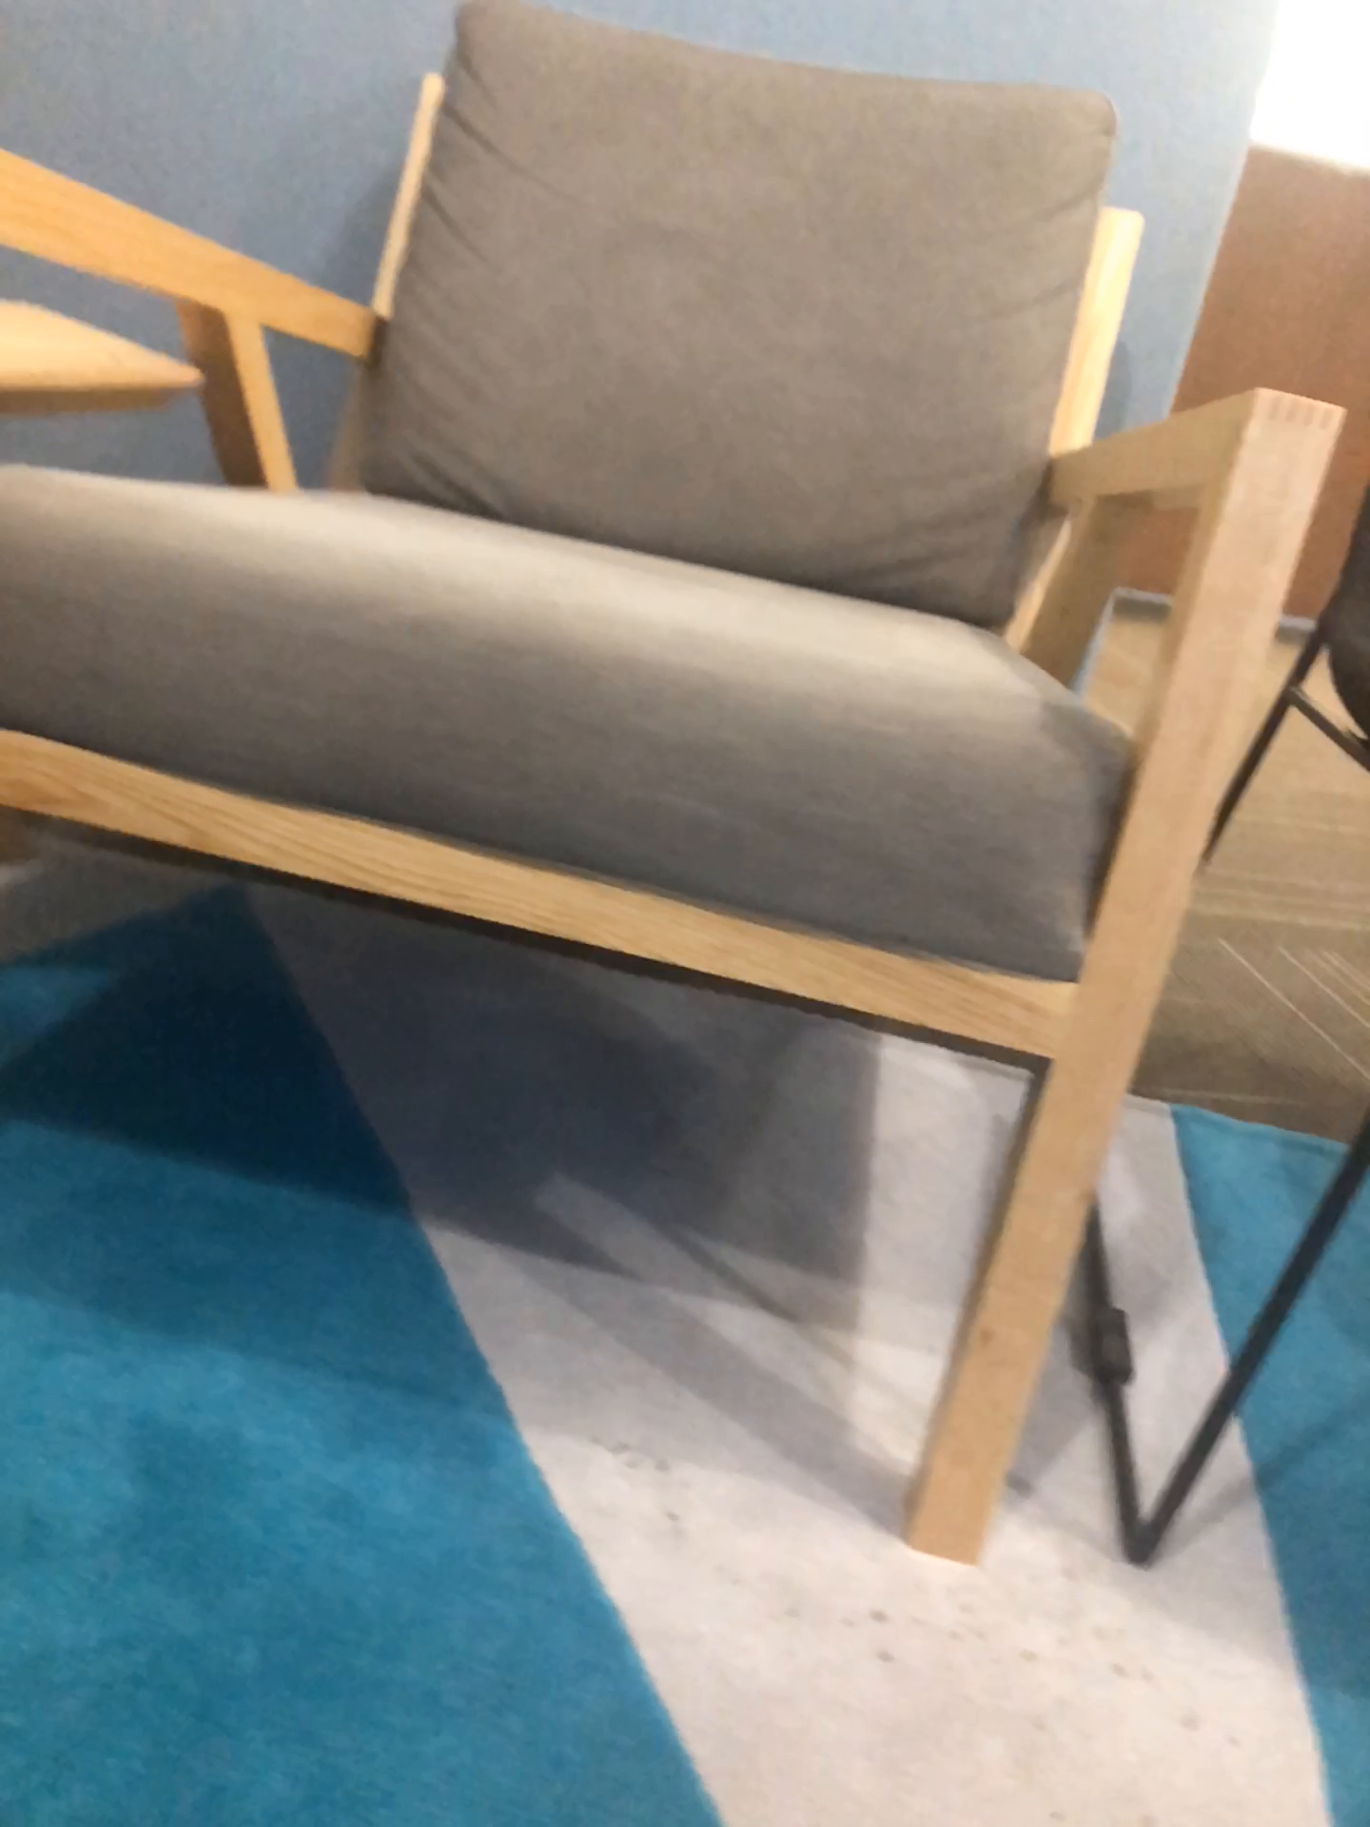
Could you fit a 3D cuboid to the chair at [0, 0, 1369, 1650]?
[{"bbox_3d":[-0.034,-0.225,0.988,0.710,0.745,0.846,13,23,4],"label":"chair"}]
